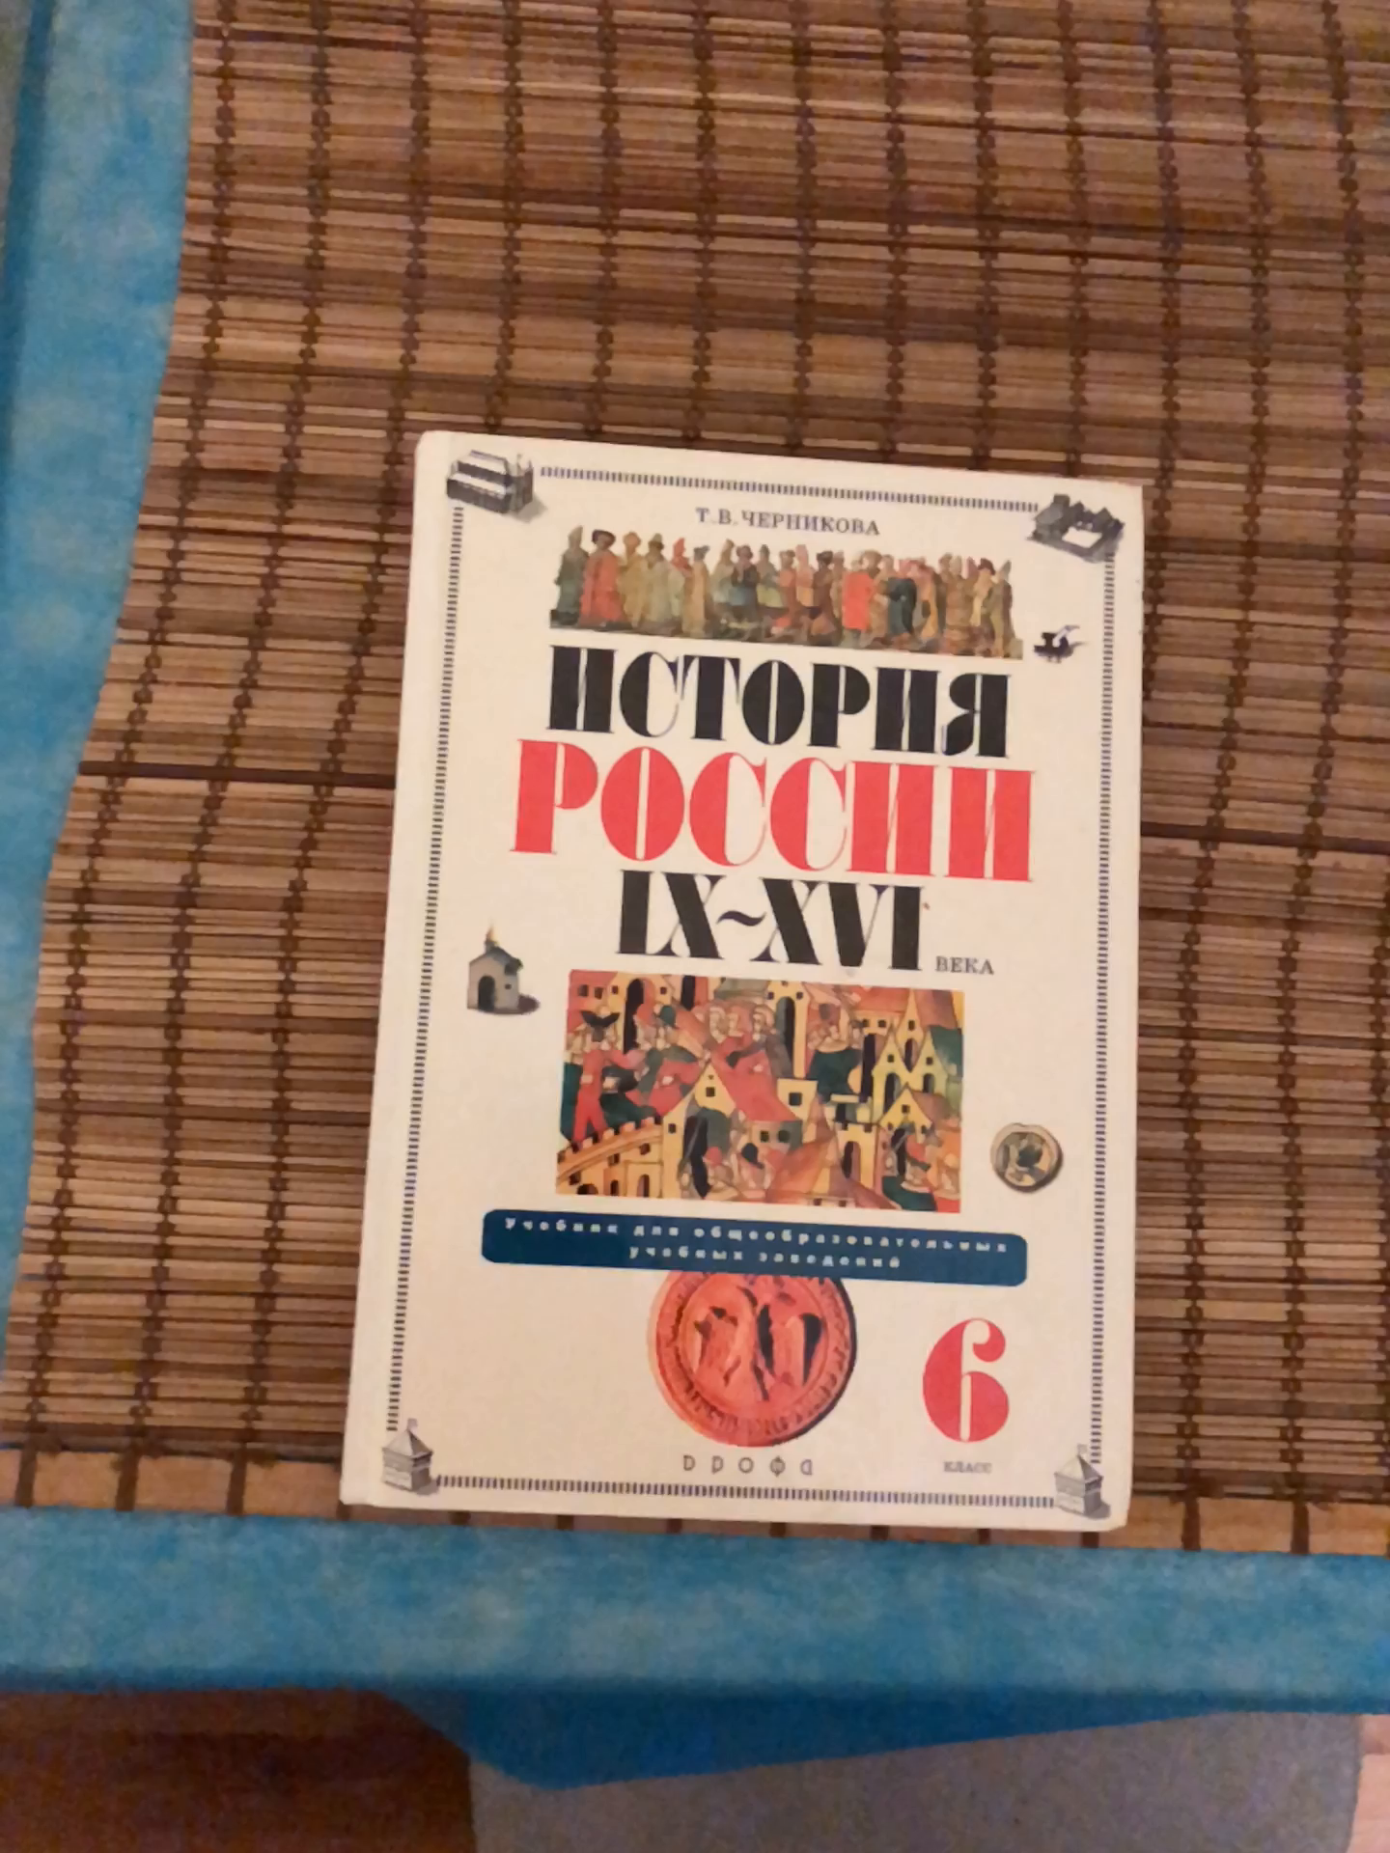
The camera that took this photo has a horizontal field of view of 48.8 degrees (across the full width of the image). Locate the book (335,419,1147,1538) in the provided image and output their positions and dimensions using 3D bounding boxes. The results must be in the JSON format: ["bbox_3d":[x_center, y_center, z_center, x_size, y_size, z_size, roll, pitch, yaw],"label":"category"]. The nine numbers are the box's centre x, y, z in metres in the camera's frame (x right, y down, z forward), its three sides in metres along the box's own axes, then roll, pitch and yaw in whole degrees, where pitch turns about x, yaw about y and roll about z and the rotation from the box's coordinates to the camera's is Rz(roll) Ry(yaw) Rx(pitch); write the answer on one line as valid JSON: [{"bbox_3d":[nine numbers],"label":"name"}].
[{"bbox_3d":[0.015,0.009,0.353,0.169,0.029,0.240,3,82,-2],"label":"book"}]
